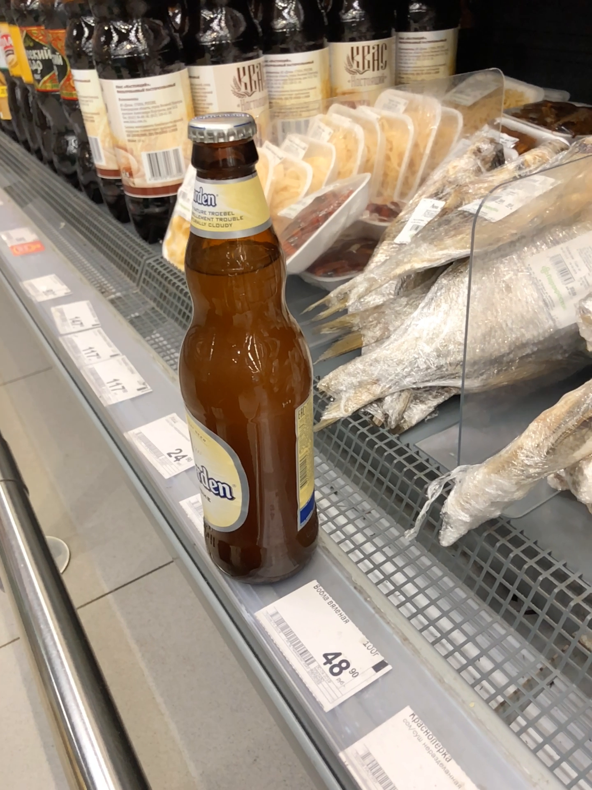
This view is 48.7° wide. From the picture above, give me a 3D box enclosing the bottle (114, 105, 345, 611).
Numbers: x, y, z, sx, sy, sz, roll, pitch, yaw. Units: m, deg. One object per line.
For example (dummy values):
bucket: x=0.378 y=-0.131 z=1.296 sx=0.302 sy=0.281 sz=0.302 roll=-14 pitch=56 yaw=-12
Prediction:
bottle: x=-0.025 y=-0.007 z=0.316 sx=0.070 sy=0.229 sz=0.070 roll=-3 pitch=34 yaw=2
